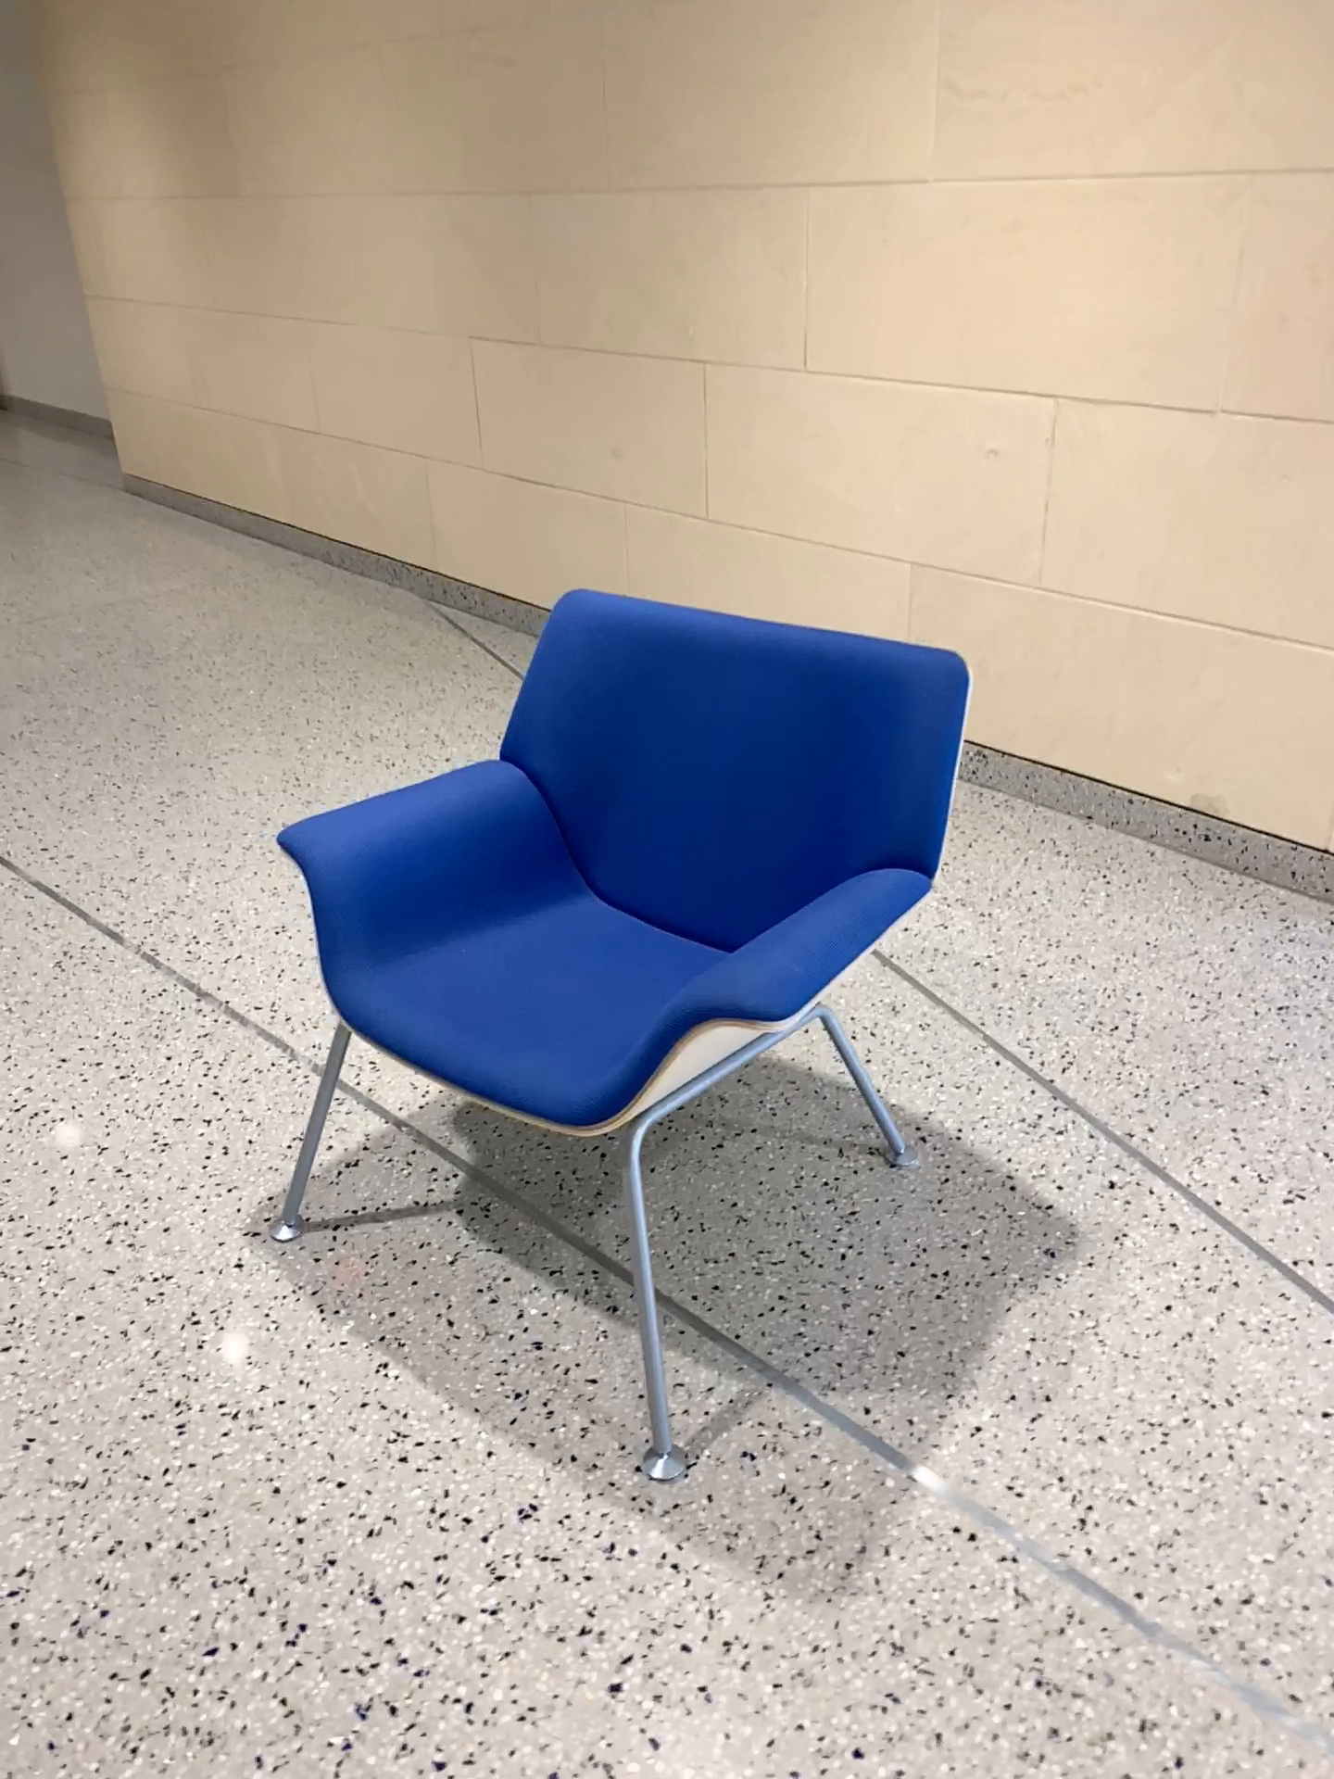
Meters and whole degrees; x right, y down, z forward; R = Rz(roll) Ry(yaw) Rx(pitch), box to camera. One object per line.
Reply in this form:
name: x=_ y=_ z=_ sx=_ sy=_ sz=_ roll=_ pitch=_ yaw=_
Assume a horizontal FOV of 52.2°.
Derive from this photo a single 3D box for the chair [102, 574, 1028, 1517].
chair: x=-0.092 y=0.092 z=1.760 sx=0.781 sy=0.728 sz=0.760 roll=18 pitch=34 yaw=34
